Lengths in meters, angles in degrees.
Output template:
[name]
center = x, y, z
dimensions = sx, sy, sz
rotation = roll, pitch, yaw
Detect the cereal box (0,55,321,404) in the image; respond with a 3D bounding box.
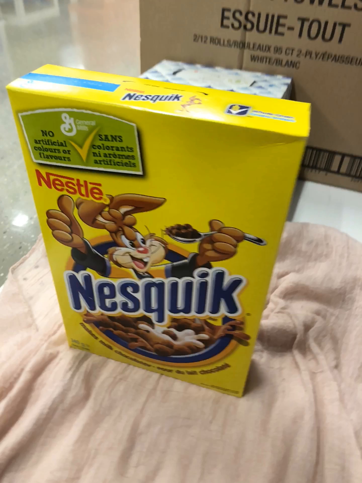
[cereal box]
center = -0.024, 0.007, 0.327
dimensions = 0.200, 0.259, 0.060
rotation = 13, 42, 13
